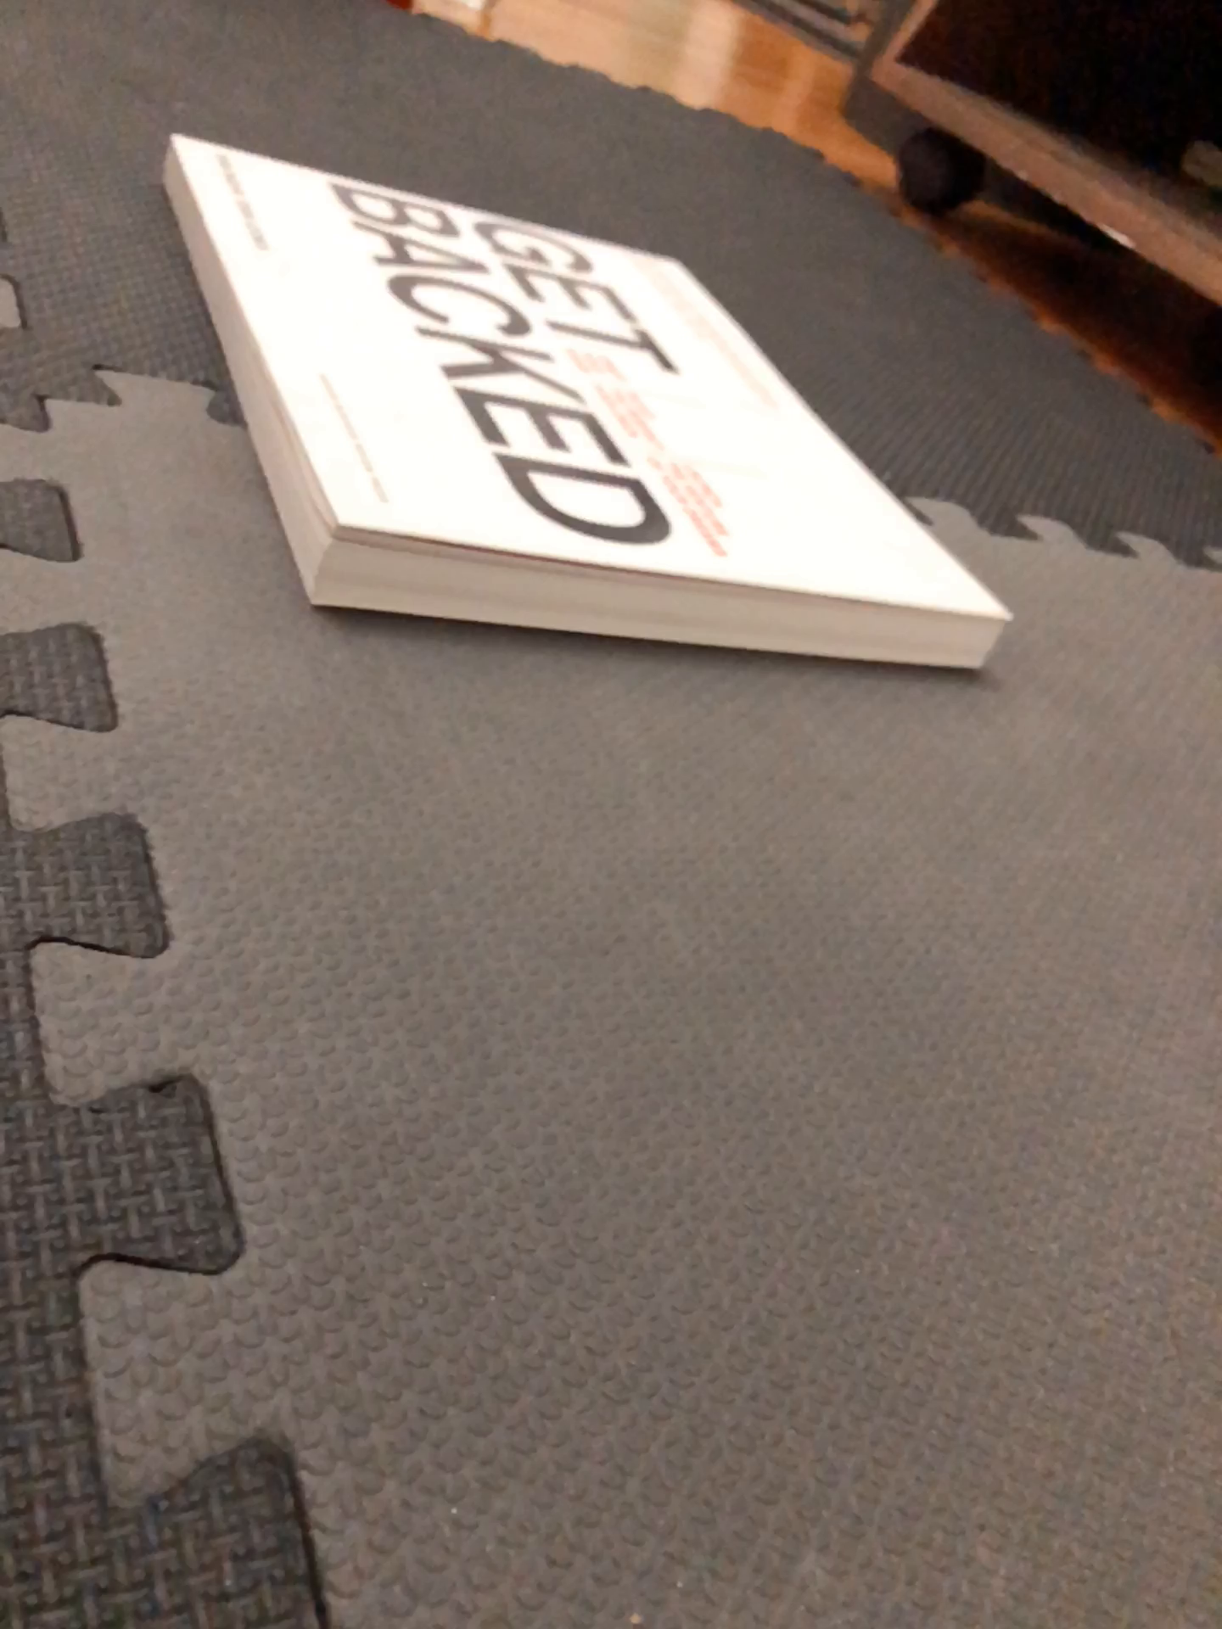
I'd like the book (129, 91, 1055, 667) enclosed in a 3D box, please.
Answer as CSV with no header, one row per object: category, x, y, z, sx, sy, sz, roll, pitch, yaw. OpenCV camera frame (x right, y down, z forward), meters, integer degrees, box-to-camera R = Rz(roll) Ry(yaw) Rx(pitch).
book,-0.020,-0.138,0.413,0.210,0.020,0.261,1,41,-29
